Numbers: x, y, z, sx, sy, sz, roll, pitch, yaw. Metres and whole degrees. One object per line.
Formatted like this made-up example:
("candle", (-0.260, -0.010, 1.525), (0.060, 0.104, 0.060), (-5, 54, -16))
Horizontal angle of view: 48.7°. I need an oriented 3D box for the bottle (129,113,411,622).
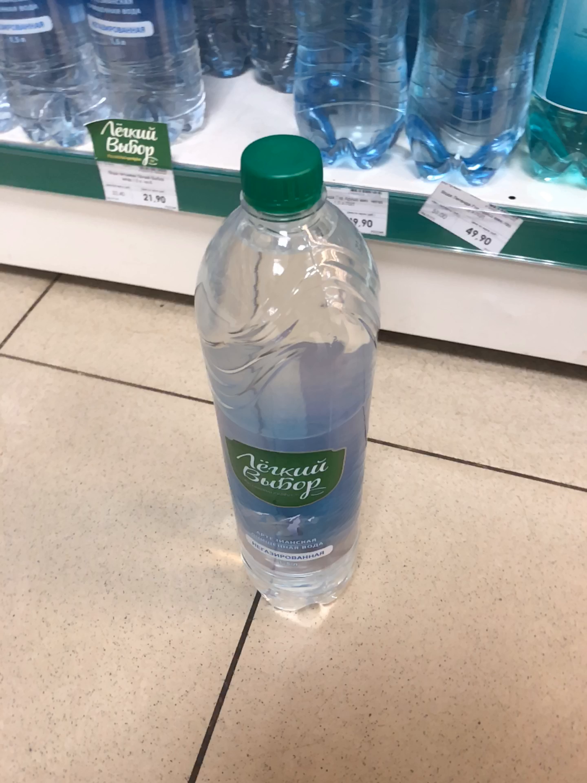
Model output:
("bottle", (0.001, 0.018, 0.350), (0.089, 0.299, 0.086), (-1, 49, 1))
